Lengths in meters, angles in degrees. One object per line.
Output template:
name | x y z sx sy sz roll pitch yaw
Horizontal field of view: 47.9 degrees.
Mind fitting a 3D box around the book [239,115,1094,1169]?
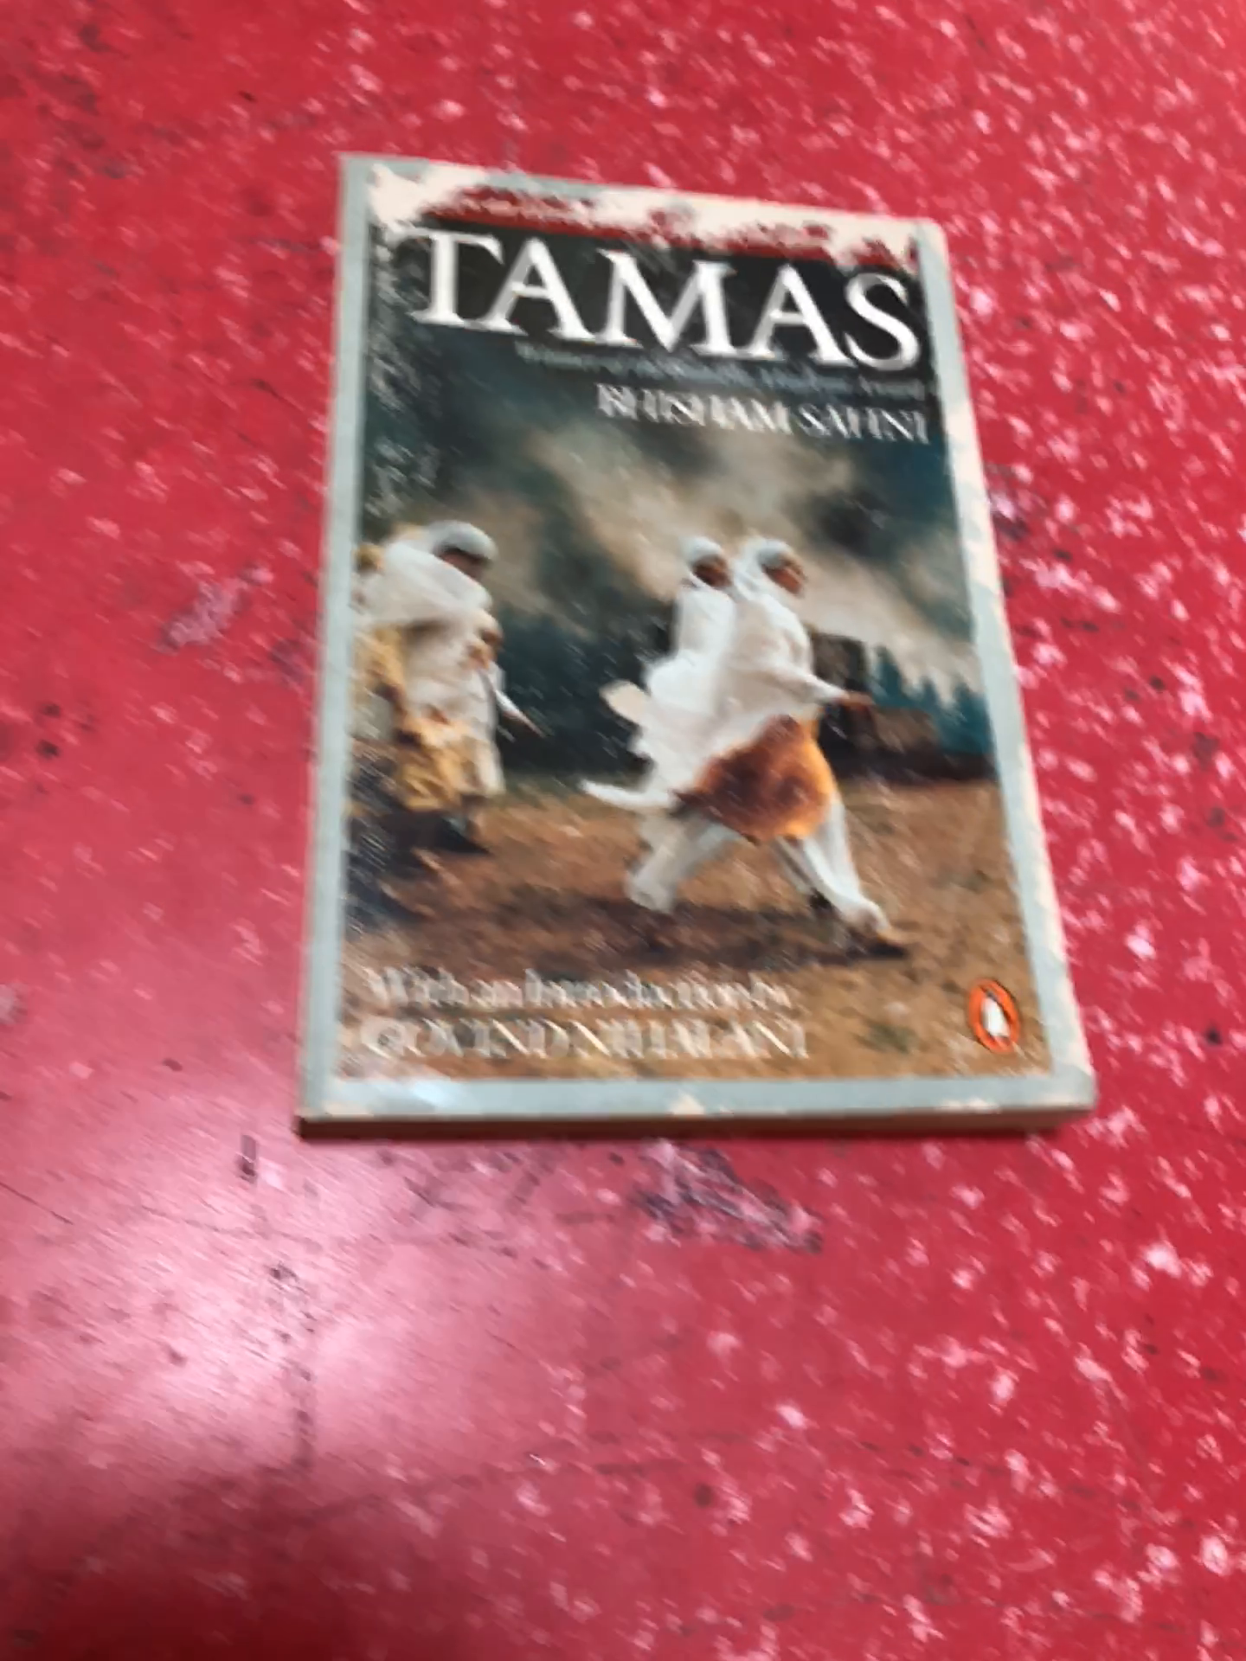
book | 0.003 -0.042 0.257 0.130 0.020 0.200 2 66 -11
